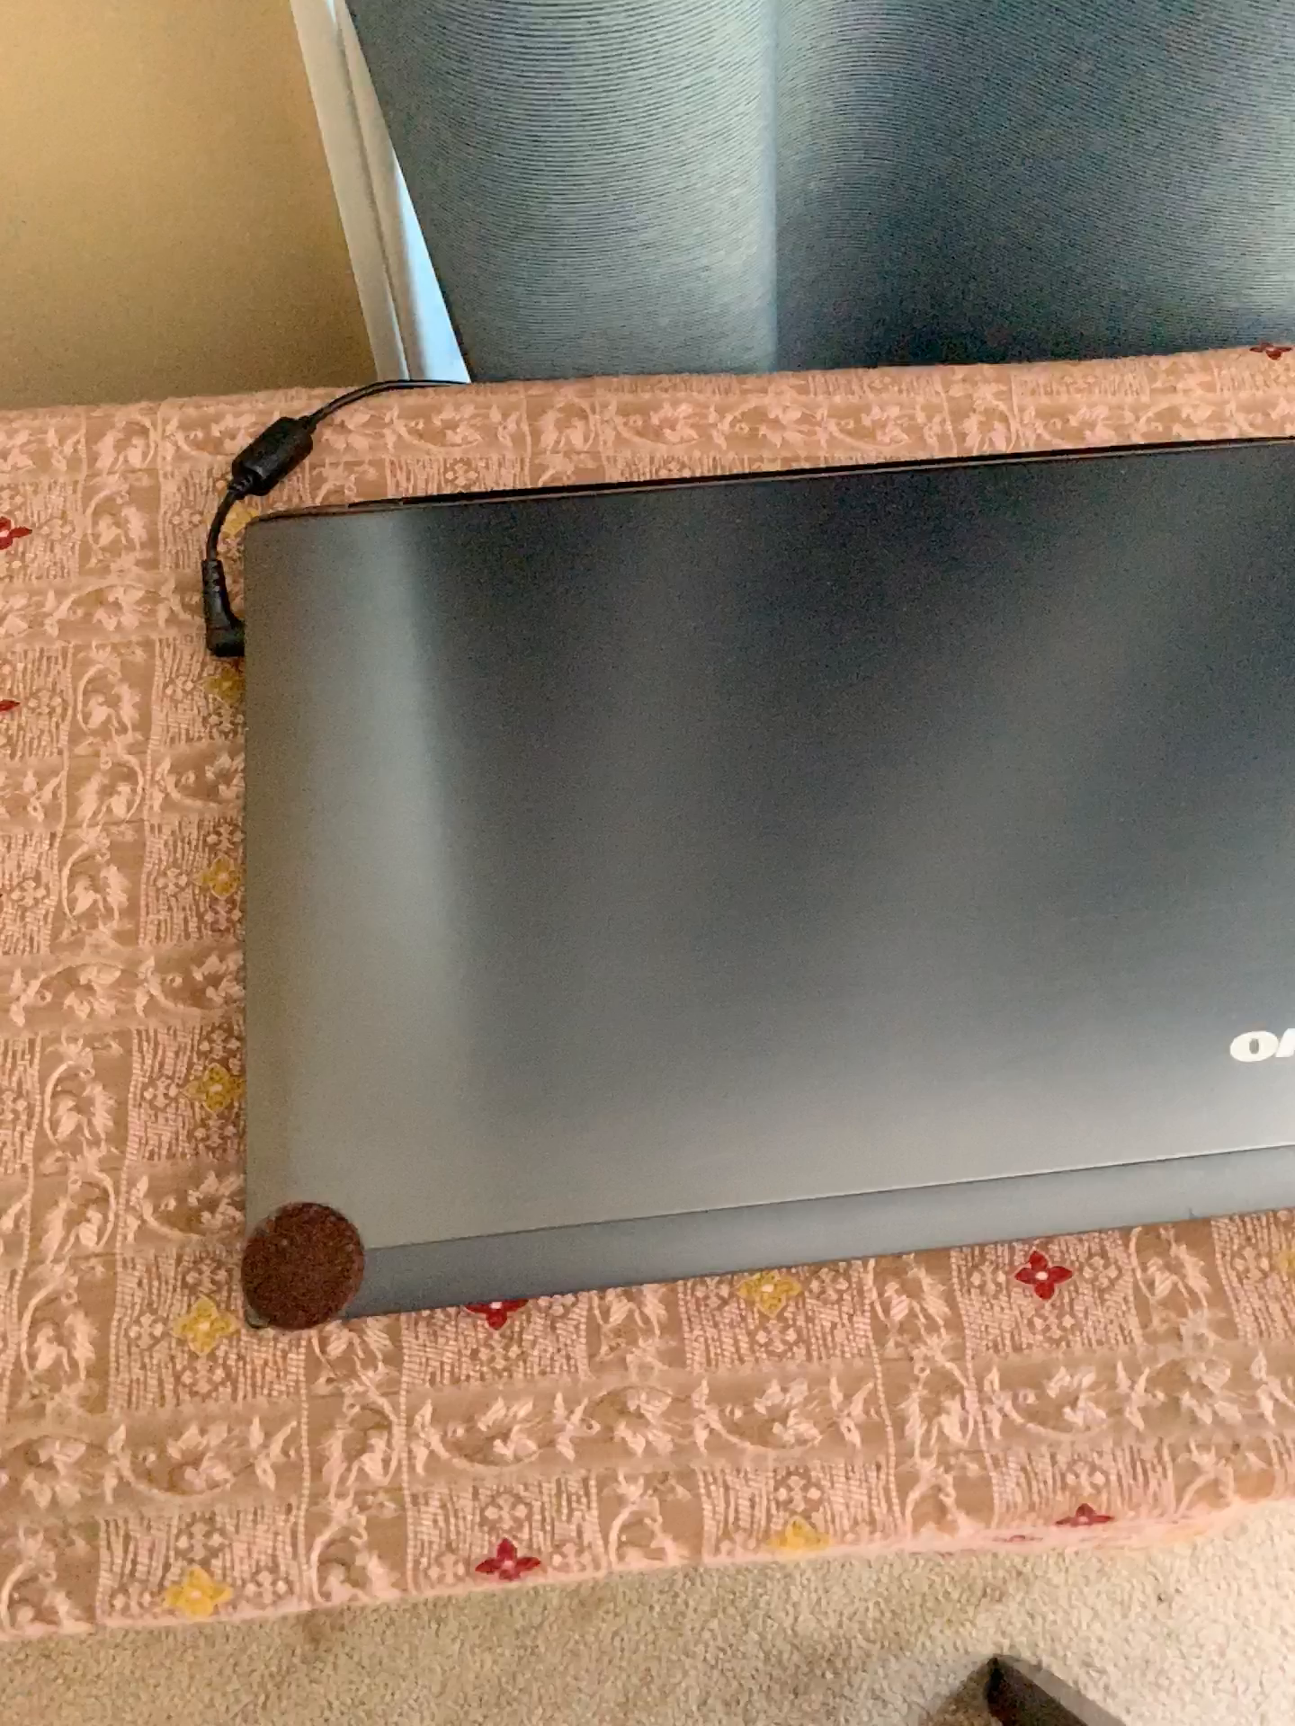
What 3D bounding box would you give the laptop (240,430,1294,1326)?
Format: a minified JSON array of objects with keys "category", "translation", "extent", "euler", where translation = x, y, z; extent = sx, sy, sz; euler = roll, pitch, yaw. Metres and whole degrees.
[{"category":"laptop","translation":[0.069,-0.010,0.370],"extent":[0.356,0.011,0.223],"euler":[-6,70,-2]}]
